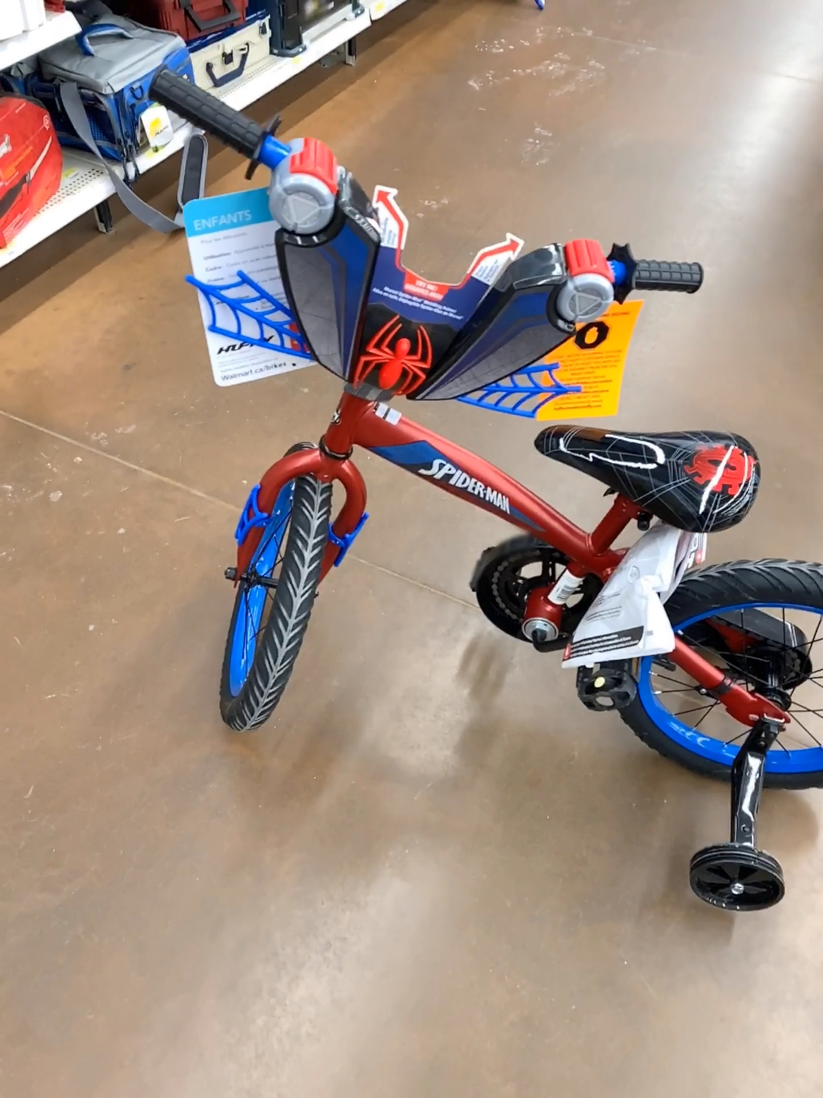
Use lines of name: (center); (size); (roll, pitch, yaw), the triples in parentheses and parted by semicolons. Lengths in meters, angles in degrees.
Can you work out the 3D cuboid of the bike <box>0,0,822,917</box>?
bike: (0.124, -0.028, 0.768); (0.565, 0.709, 0.477); (5, 49, 3)
